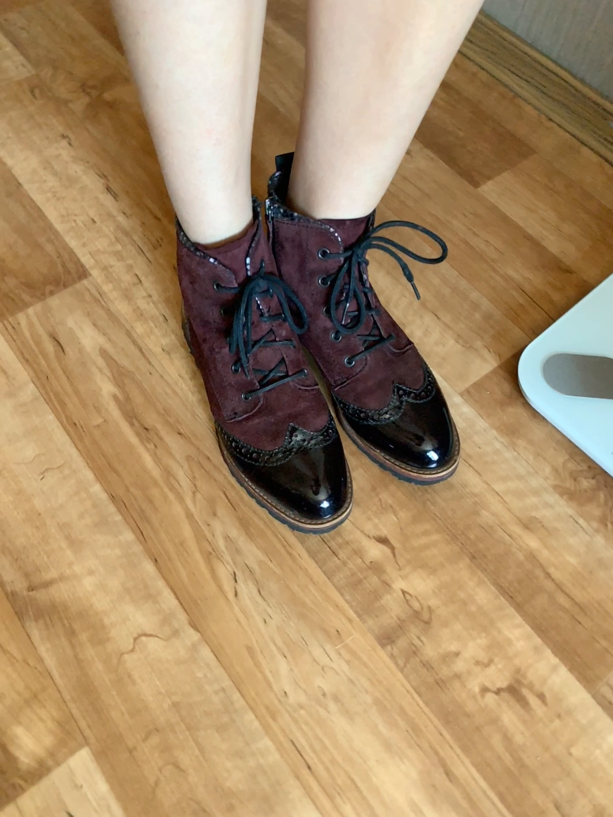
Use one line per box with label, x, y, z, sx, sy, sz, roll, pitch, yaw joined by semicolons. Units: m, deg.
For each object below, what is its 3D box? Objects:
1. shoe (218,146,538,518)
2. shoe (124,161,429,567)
shoe;0.039;-0.064;0.516;0.100;0.140;0.260;-28;67;-18
shoe;-0.034;-0.036;0.478;0.100;0.140;0.260;-23;65;-16
